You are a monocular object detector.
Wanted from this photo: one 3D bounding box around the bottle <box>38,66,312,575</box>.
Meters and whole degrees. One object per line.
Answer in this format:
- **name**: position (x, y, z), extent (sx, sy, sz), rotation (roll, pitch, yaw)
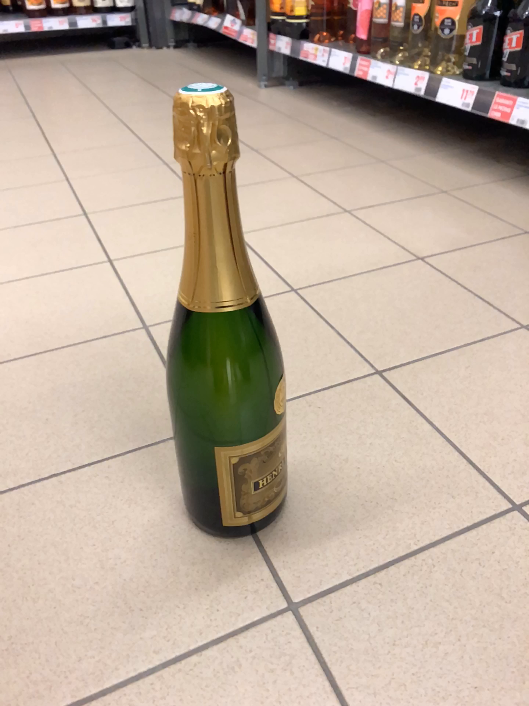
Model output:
- **bottle**: position (-0.036, -0.007, 0.381), extent (0.100, 0.308, 0.101), rotation (-1, 34, 1)
